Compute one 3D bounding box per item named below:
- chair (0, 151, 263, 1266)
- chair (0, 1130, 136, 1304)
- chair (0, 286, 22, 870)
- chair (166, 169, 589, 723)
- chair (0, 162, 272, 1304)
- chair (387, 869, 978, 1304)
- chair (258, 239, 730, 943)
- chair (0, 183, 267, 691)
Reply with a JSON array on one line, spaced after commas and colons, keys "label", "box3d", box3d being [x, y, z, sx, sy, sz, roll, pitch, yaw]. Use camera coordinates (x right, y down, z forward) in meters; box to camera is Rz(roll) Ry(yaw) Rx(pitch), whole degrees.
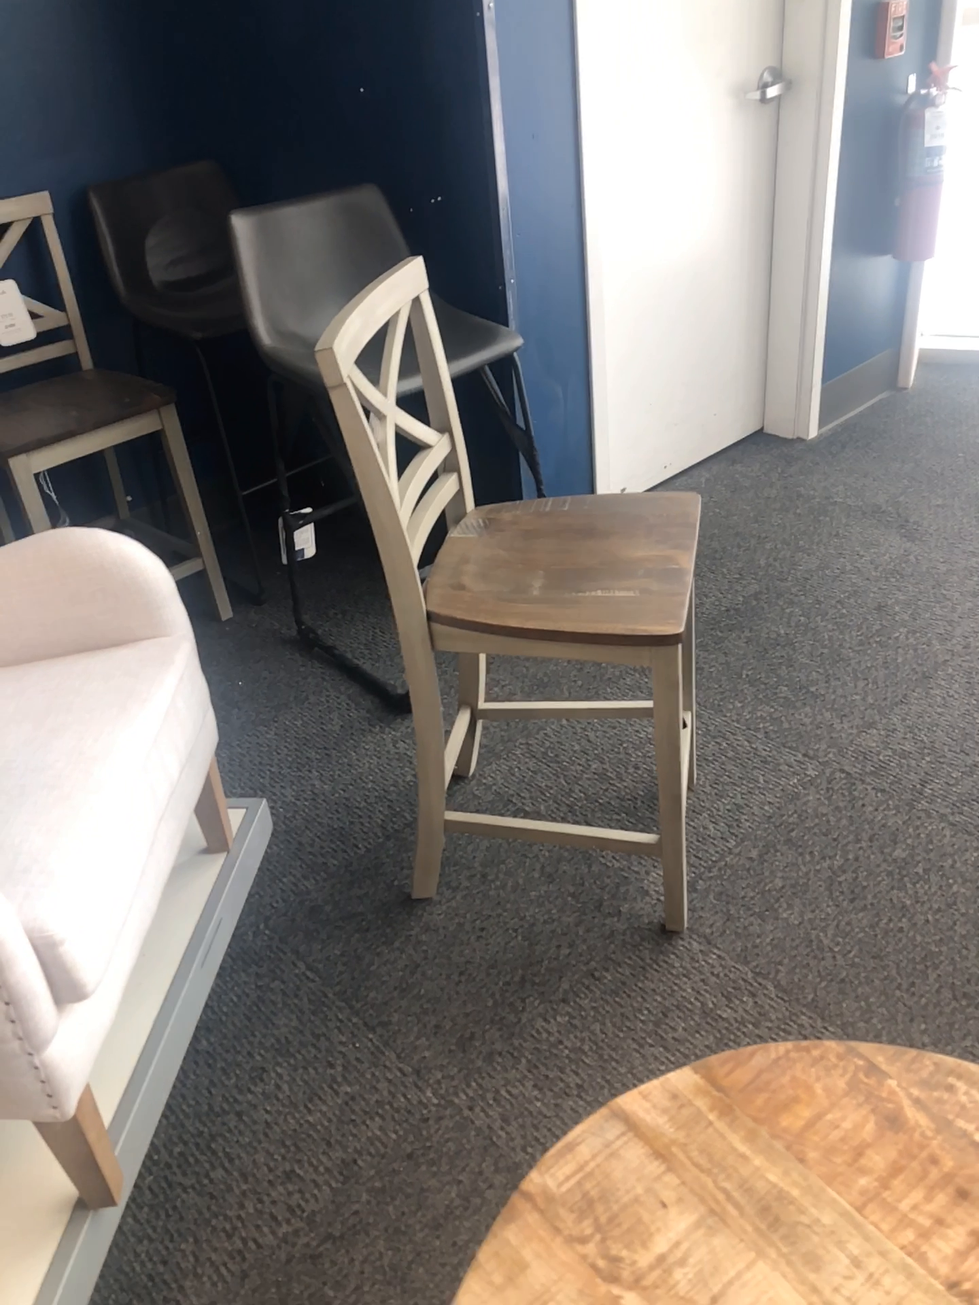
[{"label": "chair", "box3d": [-0.777, 0.071, 1.227, 0.704, 1.014, 0.693, -4, 34, 3]}, {"label": "chair", "box3d": [-0.621, 0.808, 0.543, 0.575, 0.944, 0.492, -11, 34, -7]}, {"label": "chair", "box3d": [-1.439, -0.136, 2.020, 0.584, 0.924, 0.522, 2, 35, 13]}, {"label": "chair", "box3d": [-0.188, -0.453, 2.268, 0.536, 0.934, 0.541, 25, 44, 38]}, {"label": "chair", "box3d": [-0.547, 0.149, 0.882, 0.484, 0.914, 0.381, -4, 33, 3]}, {"label": "chair", "box3d": [0.325, 0.643, 0.940, 0.685, 0.536, 0.522, -12, 34, -8]}, {"label": "chair", "box3d": [0.080, -0.079, 1.652, 0.534, 0.934, 0.472, 2, 34, 13]}, {"label": "chair", "box3d": [-0.942, -0.500, 2.438, 0.471, 0.934, 0.536, -28, 39, -29]}]
